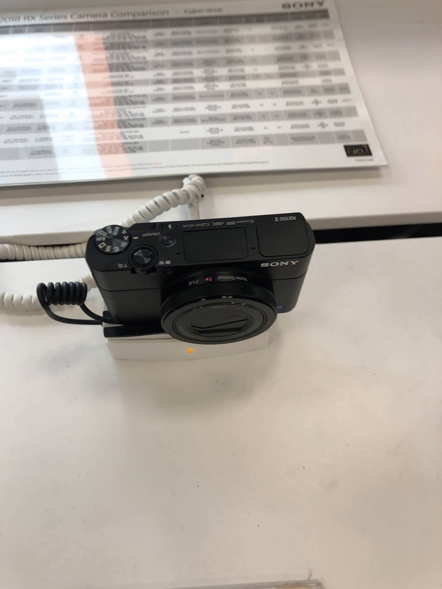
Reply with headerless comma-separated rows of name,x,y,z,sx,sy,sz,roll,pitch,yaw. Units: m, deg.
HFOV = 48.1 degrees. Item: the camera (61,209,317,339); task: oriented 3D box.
camera,-0.015,-0.007,0.250,0.110,0.070,0.030,-4,66,-3
